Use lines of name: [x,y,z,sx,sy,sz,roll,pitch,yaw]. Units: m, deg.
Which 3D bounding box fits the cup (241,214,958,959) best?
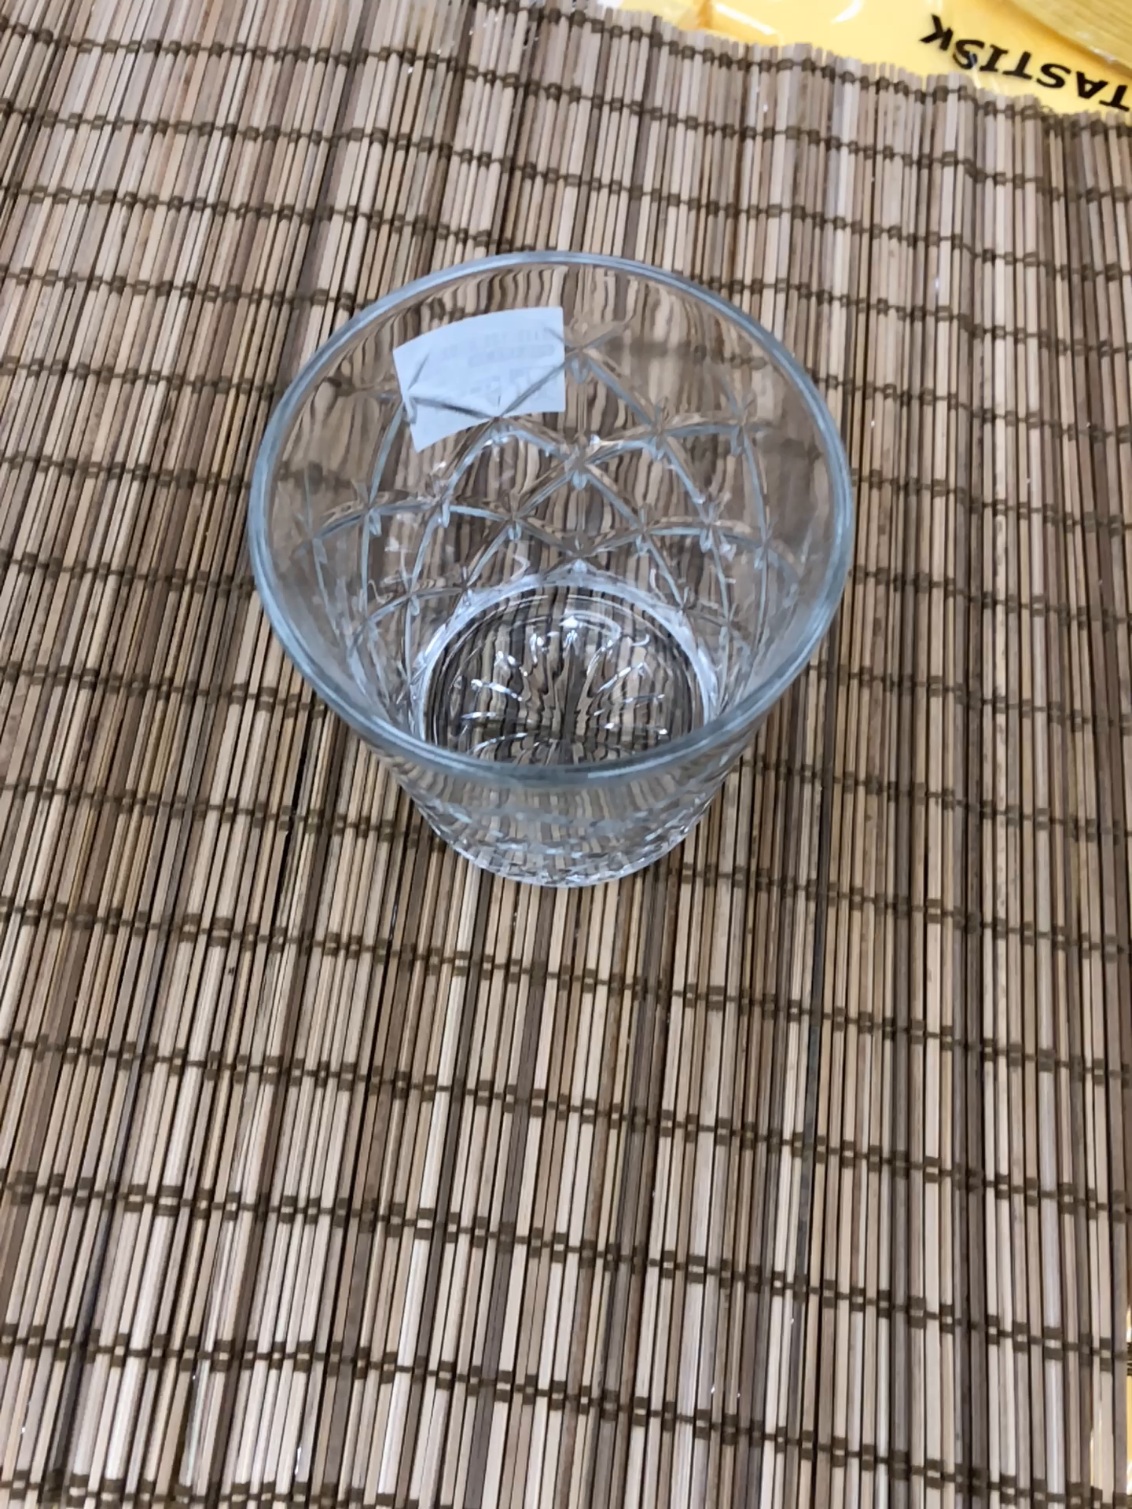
cup: [0.002,-0.018,0.197,0.080,0.090,0.080,1,68,-3]
